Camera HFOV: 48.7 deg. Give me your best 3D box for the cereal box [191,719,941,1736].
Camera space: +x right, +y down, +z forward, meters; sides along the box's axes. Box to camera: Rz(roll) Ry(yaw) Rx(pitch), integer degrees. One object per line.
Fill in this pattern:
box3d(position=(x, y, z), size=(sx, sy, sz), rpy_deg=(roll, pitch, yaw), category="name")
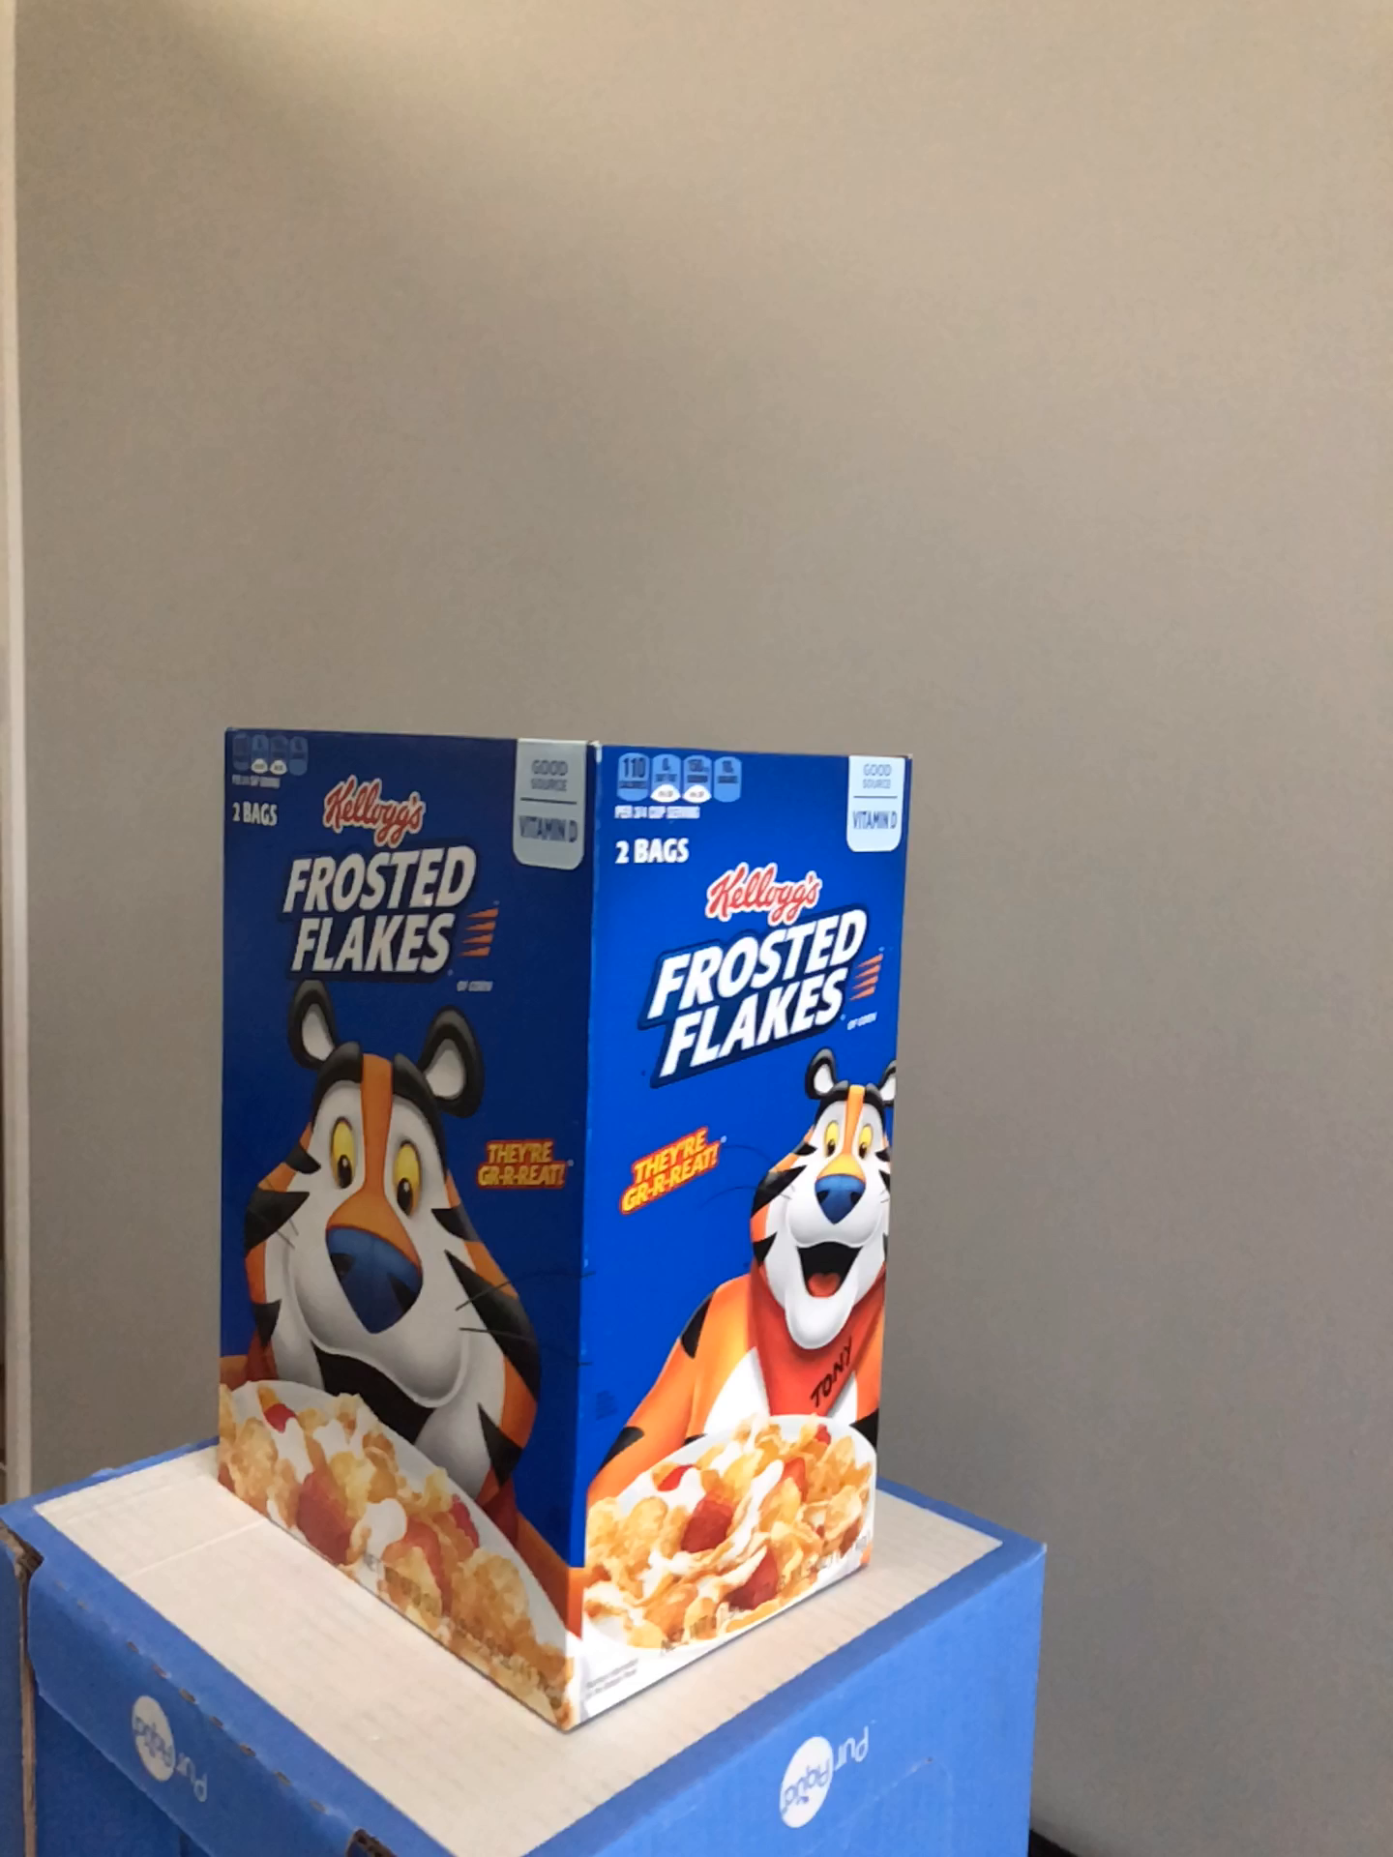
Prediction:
box3d(position=(-0.065, 0.080, 0.625), size=(0.170, 0.320, 0.260), rpy_deg=(-3, 8, -43), category="cereal box")
